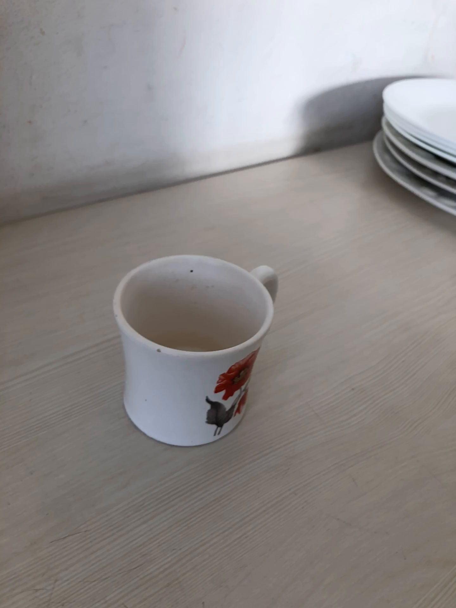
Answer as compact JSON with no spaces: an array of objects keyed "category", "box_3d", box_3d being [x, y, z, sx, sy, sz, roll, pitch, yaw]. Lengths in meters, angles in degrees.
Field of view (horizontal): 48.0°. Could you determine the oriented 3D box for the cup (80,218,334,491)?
[{"category":"cup","box_3d":[-0.009,0.018,0.245,0.070,0.070,0.091,29,43,25]}]
